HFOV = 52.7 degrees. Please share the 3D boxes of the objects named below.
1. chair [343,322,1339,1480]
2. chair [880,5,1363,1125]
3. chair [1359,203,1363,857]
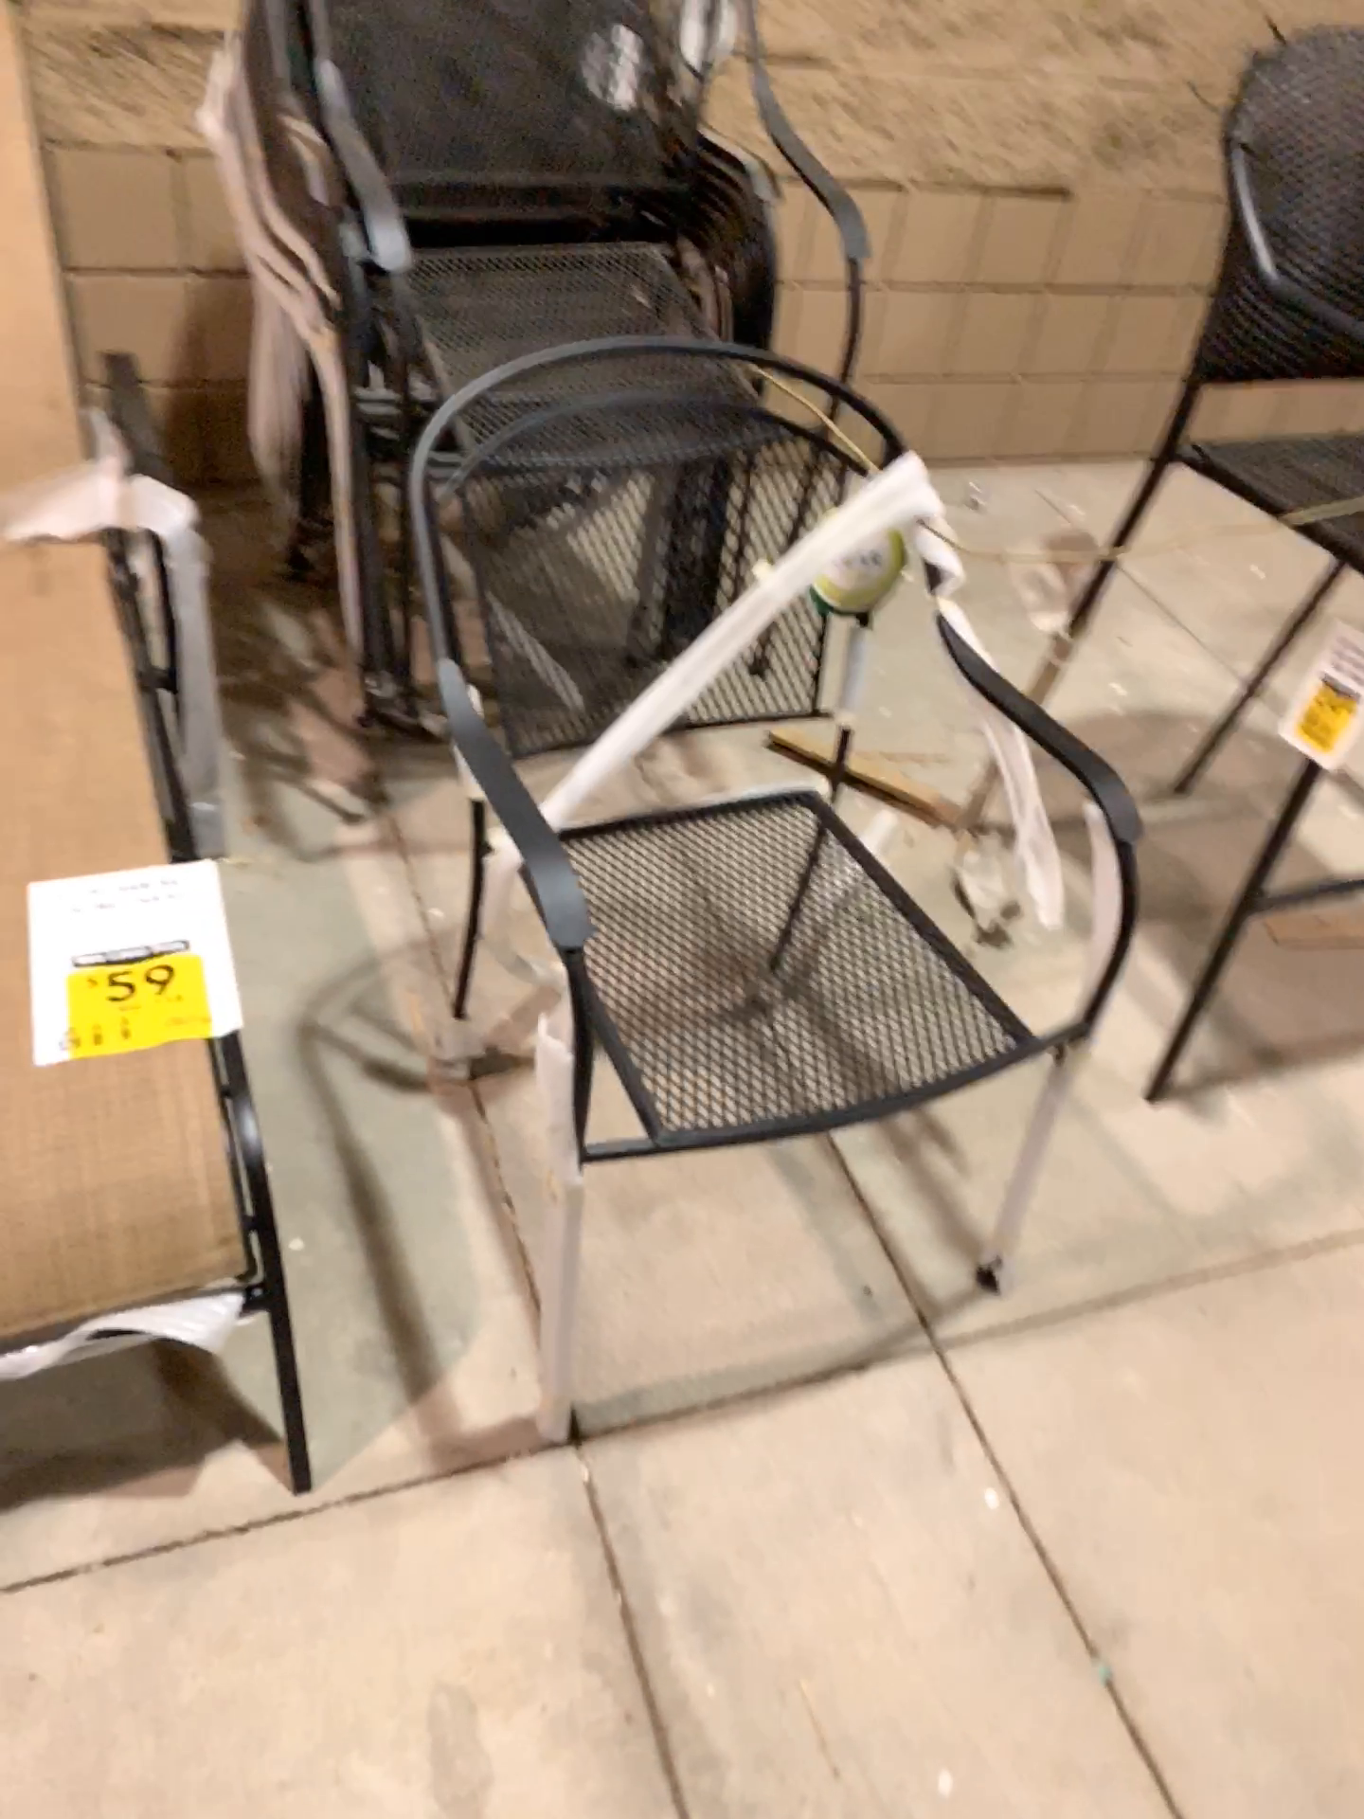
[{"bbox_3d":[0.044,-0.030,1.390,0.575,0.869,0.641,-12,43,-22],"label":"chair"},{"bbox_3d":[0.808,-0.422,1.786,0.635,1.128,0.711,-9,42,-20],"label":"chair"},{"bbox_3d":[1.741,-0.613,2.284,0.644,0.820,0.631,1,40,-9],"label":"chair"}]
